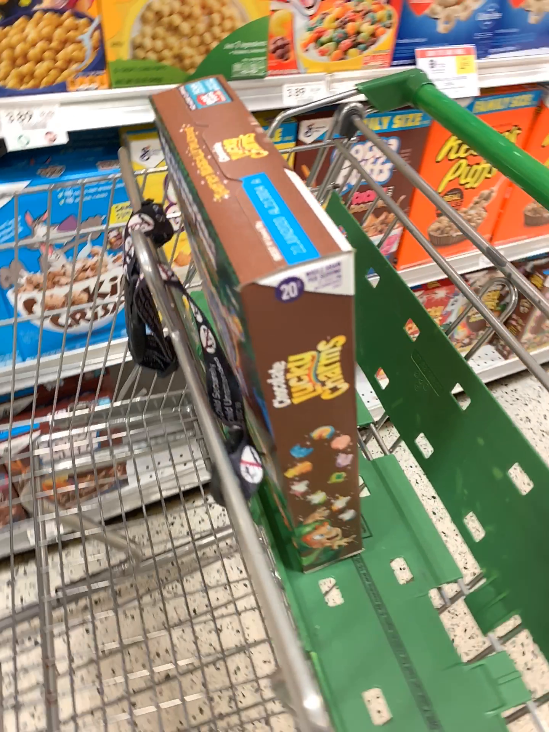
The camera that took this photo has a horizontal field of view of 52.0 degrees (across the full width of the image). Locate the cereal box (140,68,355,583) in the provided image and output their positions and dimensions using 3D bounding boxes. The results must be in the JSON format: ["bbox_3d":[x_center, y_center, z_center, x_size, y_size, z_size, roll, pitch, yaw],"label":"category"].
[{"bbox_3d":[-0.010,-0.010,0.389,0.050,0.297,0.202,-18,48,-8],"label":"cereal box"}]
